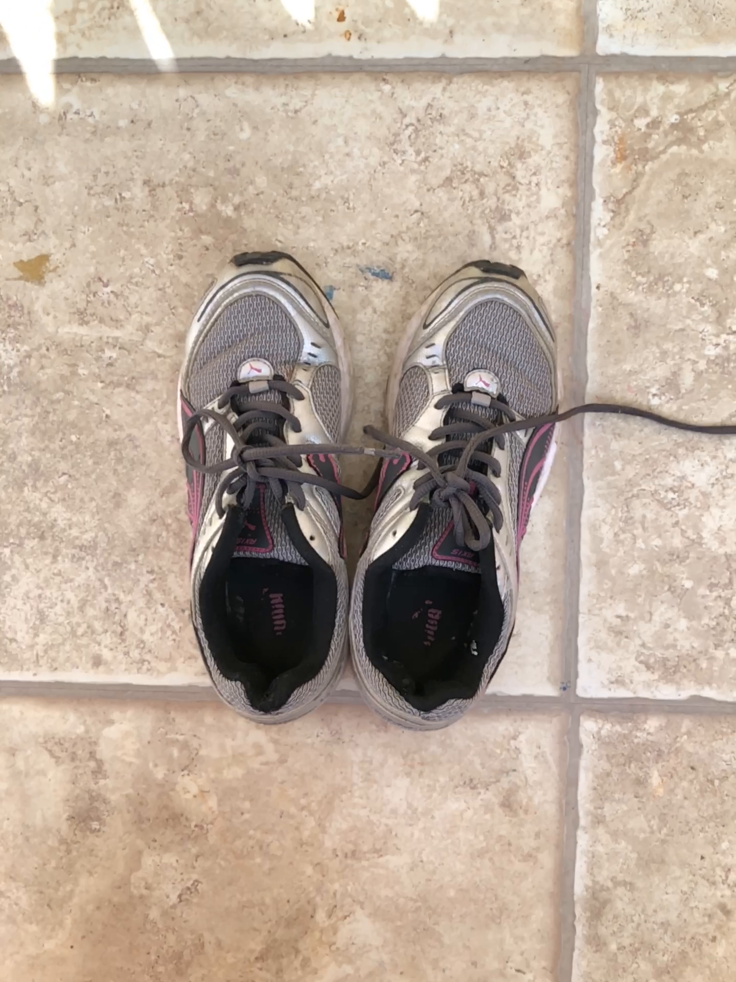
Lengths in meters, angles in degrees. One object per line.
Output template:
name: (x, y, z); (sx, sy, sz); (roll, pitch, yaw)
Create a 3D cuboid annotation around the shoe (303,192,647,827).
shoe: (0.049, 0.007, 0.434); (0.110, 0.140, 0.270); (9, 93, 2)

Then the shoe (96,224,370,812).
shoe: (-0.062, 0.012, 0.449); (0.110, 0.140, 0.270); (-2, 93, 3)
